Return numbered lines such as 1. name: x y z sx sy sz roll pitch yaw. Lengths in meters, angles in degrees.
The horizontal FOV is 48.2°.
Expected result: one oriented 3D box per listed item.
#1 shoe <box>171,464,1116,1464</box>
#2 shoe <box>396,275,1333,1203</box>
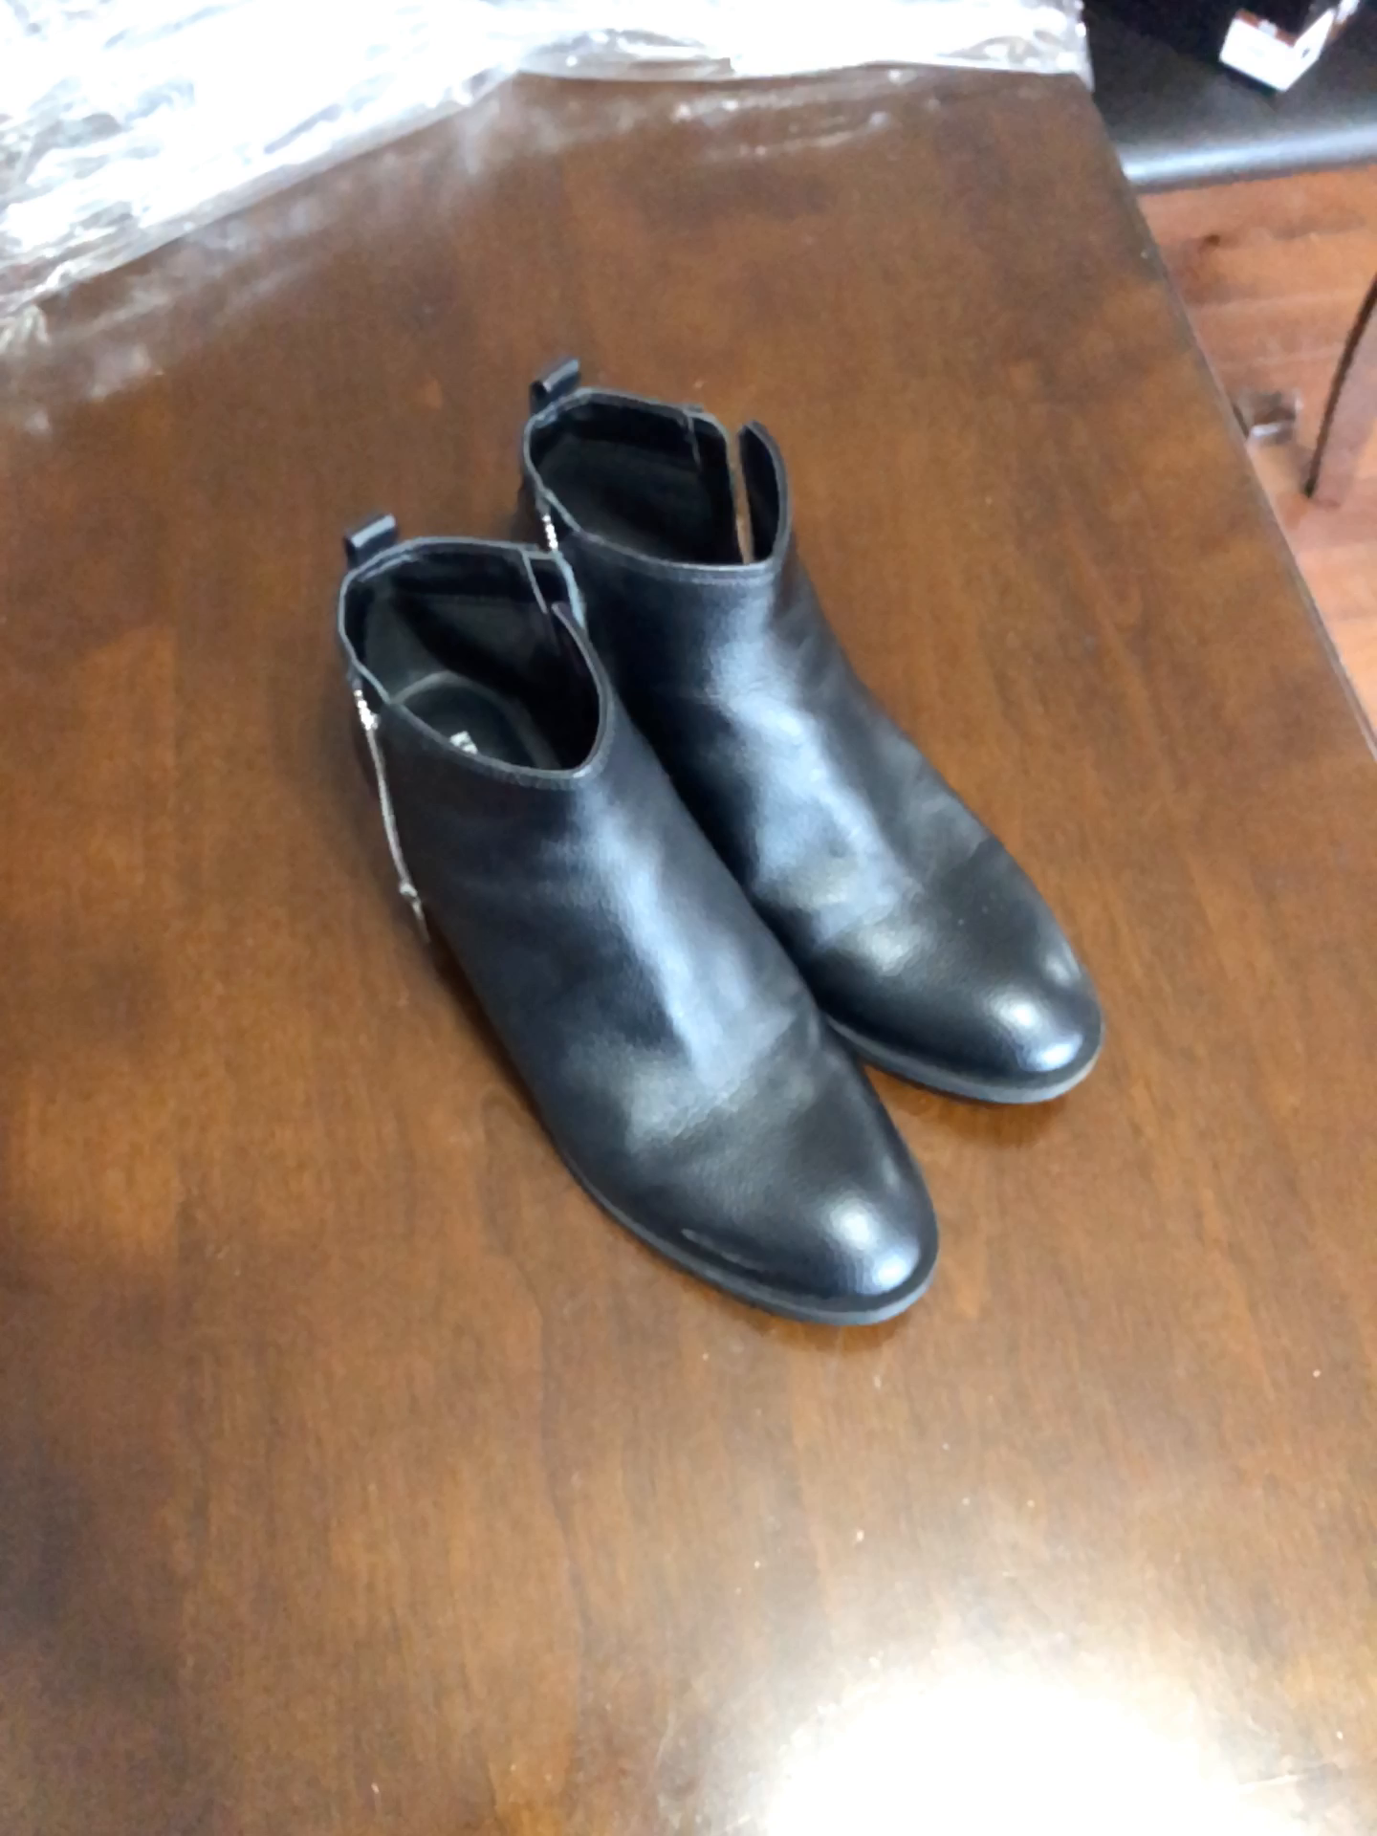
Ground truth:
1. shoe: -0.021 0.013 0.452 0.100 0.130 0.260 -37 68 -17
2. shoe: 0.039 -0.056 0.479 0.100 0.130 0.260 -39 69 -18
